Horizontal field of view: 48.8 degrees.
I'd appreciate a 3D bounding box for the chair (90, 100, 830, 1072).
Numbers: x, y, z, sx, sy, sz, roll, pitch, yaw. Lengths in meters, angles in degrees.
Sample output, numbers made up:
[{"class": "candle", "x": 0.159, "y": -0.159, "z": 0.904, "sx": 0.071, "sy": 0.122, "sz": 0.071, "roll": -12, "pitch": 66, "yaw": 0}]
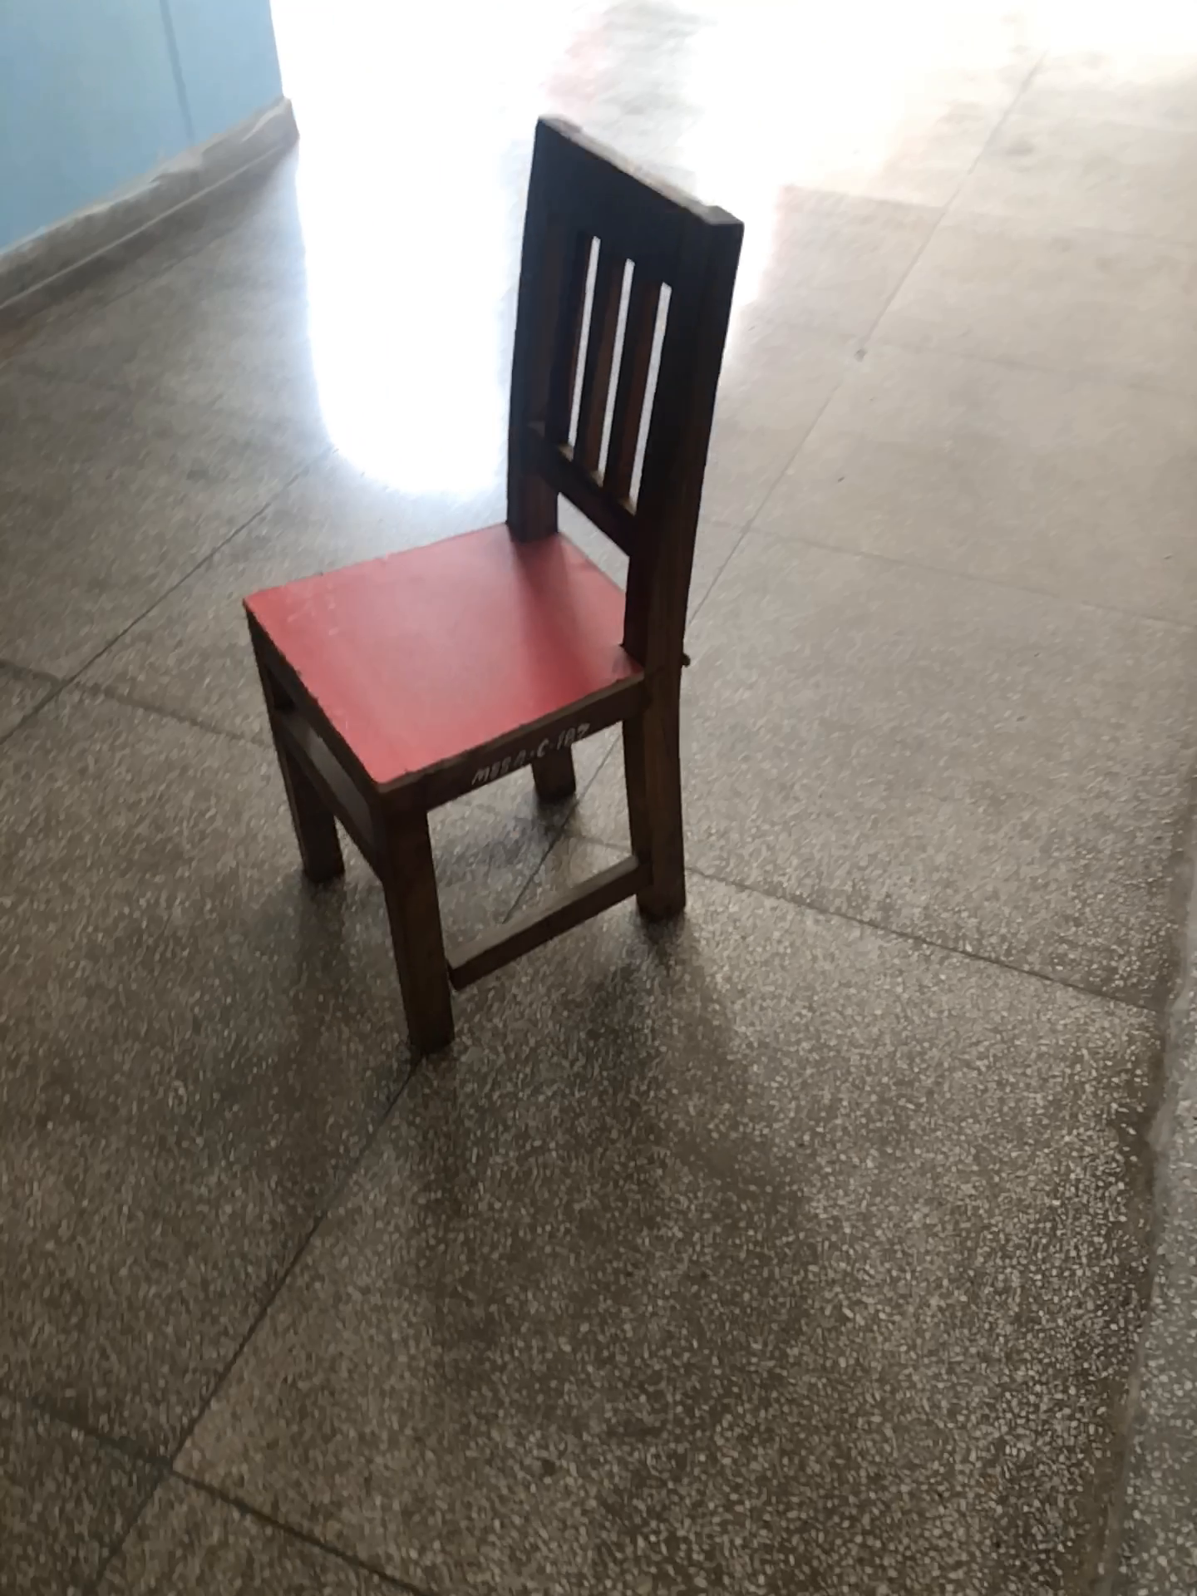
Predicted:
[{"class": "chair", "x": -0.130, "y": -0.194, "z": 1.388, "sx": 0.480, "sy": 0.817, "sz": 0.401, "roll": -24, "pitch": 51, "yaw": -23}]
